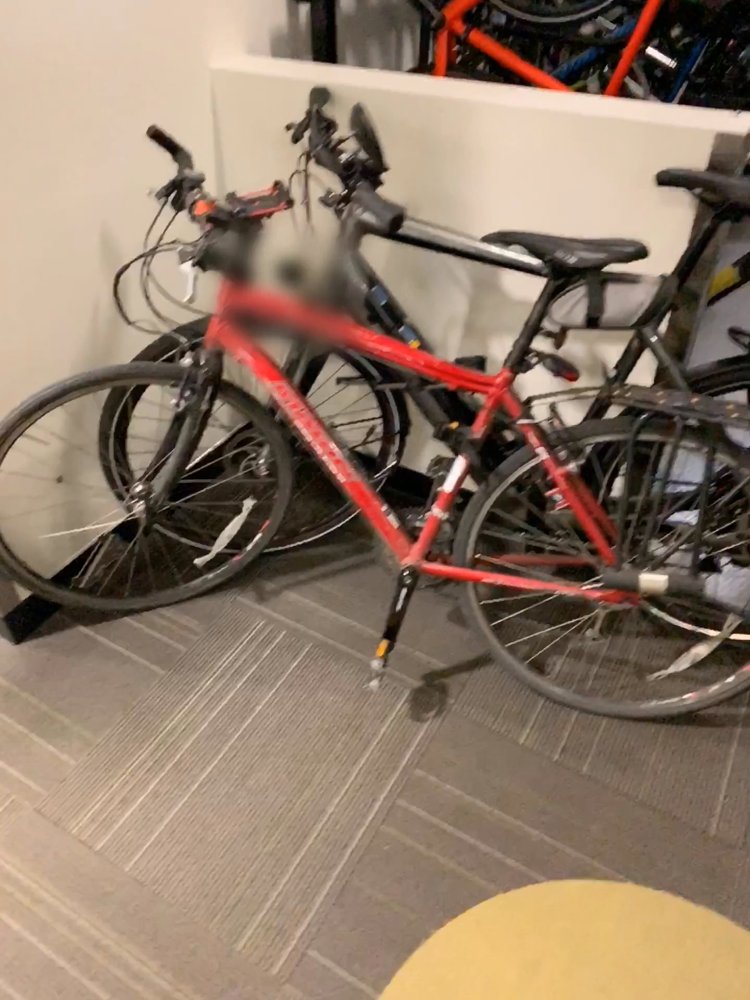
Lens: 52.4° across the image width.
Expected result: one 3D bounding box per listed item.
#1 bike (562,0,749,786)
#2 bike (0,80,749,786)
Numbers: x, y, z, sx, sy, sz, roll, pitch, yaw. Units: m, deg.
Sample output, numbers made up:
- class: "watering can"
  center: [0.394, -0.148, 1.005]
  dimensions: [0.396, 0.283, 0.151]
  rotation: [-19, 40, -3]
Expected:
- class: "bike"
  center: [0.802, -0.164, 1.481]
  dimensions: [0.726, 1.149, 0.696]
  rotation: [10, 41, 4]
- class: "bike"
  center: [0.044, -0.108, 1.442]
  dimensions: [1.611, 0.927, 0.606]
  rotation: [8, 40, 4]
